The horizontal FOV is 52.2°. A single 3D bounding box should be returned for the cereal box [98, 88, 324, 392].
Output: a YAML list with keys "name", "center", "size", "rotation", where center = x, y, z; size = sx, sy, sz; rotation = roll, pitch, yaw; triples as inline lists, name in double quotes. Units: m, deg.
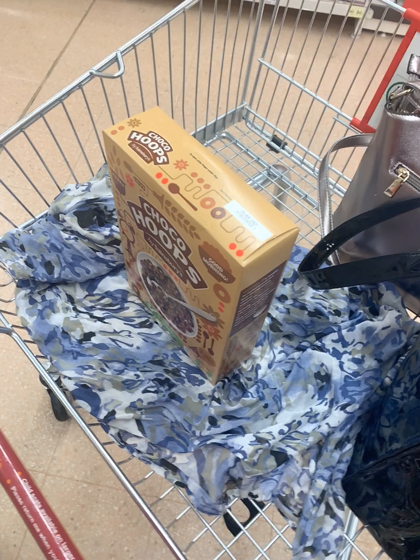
- name: "cereal box"
  center: [-0.019, -0.020, 0.499]
  size: [0.070, 0.298, 0.221]
  rotation: [-35, 68, -24]
